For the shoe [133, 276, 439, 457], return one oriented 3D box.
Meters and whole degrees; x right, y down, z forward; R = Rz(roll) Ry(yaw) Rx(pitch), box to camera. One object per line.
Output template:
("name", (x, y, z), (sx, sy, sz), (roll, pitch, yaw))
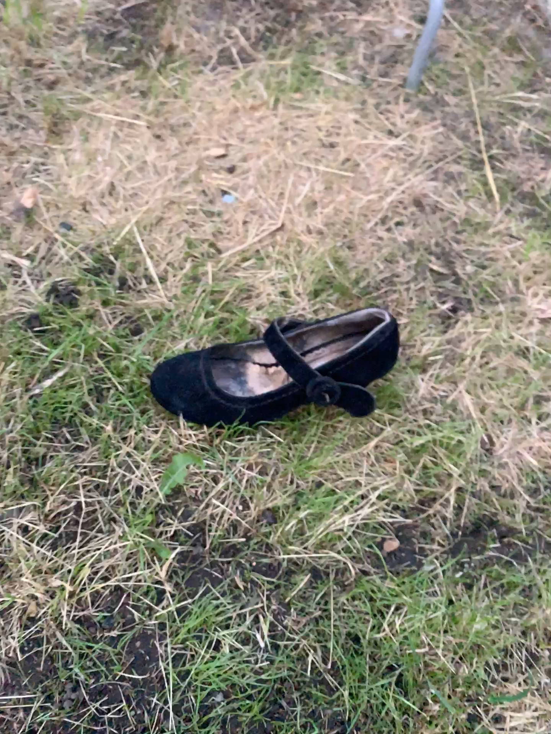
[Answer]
("shoe", (0.002, -0.001, 0.536), (0.250, 0.109, 0.111), (-5, 61, -9))
